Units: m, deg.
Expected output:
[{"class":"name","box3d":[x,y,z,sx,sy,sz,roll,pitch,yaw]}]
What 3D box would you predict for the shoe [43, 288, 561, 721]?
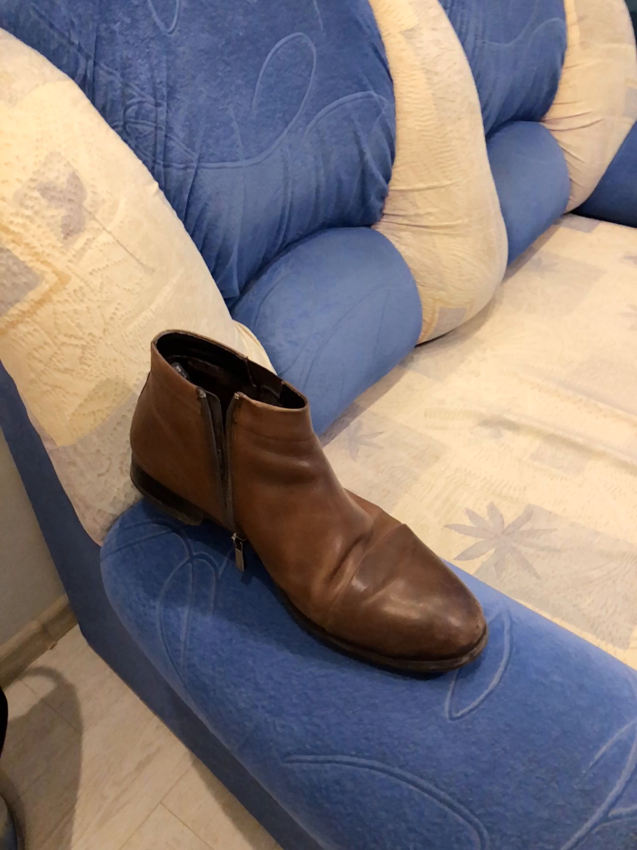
[{"class":"shoe","box3d":[-0.022,0.036,0.472,0.311,0.139,0.111,24,45,25]}]
